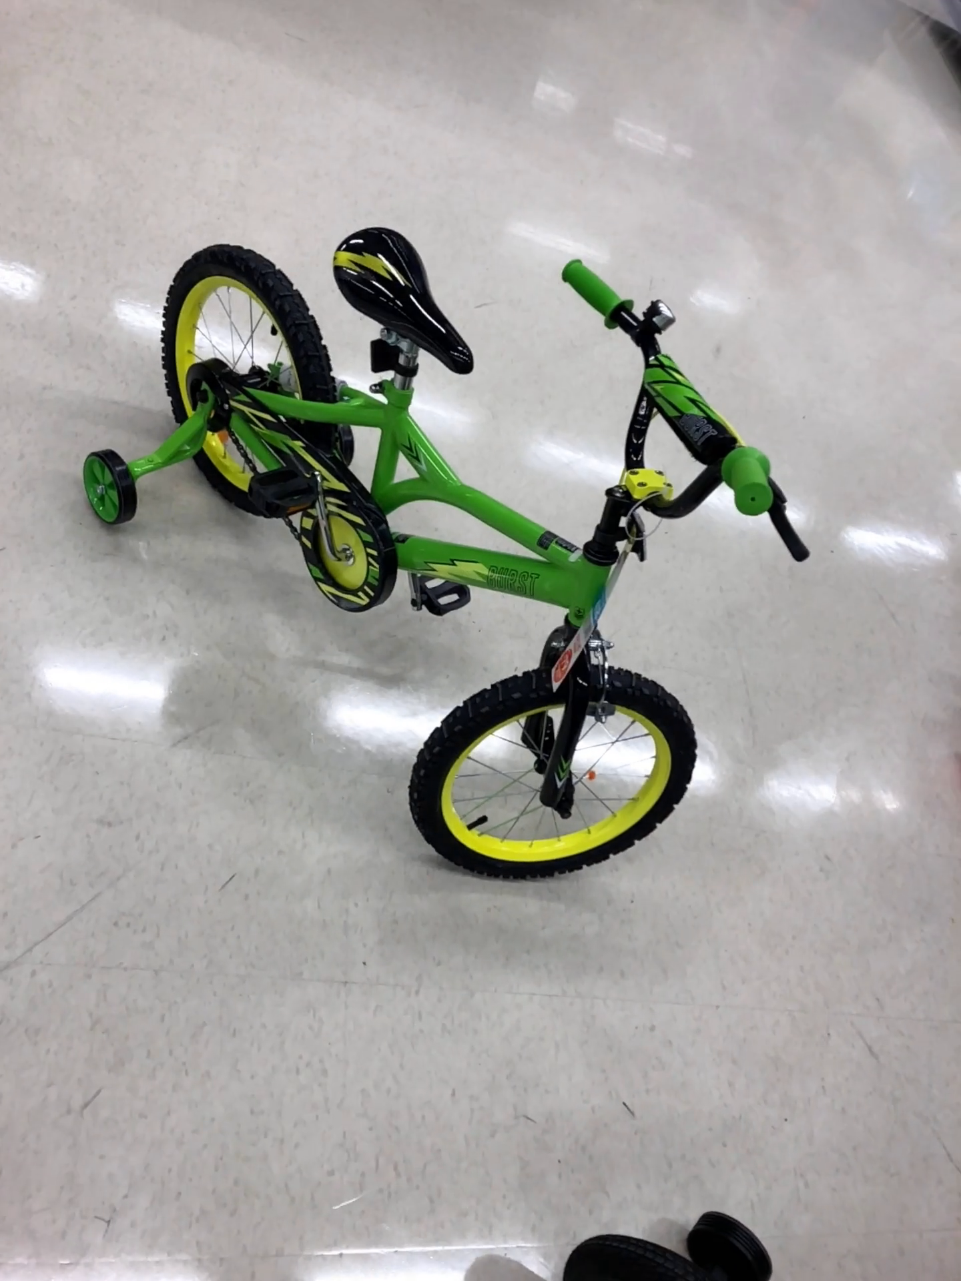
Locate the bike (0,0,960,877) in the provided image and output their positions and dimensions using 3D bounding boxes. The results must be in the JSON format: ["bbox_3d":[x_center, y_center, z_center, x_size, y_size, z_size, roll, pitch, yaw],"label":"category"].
[{"bbox_3d":[0.026,-0.332,1.346,1.044,0.807,0.554,42,47,11],"label":"bike"}]
